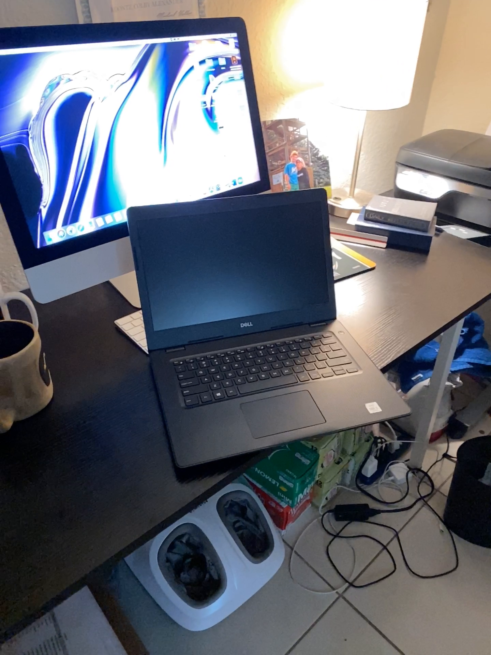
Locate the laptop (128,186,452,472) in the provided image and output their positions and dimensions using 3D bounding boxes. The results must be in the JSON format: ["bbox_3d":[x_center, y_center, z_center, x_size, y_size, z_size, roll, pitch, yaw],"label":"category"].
[{"bbox_3d":[0.029,-0.031,0.740,0.336,0.206,0.345,-10,37,-14],"label":"laptop"}]
